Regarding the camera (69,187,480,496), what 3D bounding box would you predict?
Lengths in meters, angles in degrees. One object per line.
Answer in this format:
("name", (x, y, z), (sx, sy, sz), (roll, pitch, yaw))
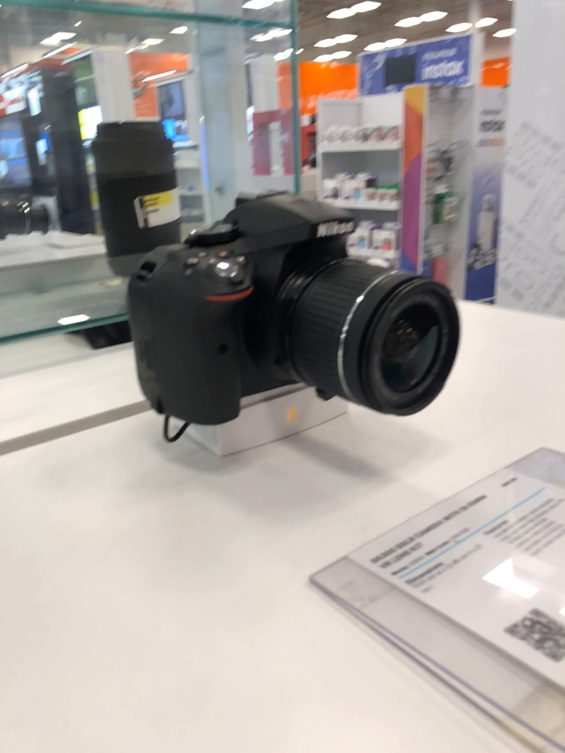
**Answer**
("camera", (-0.006, -0.035, 0.303), (0.130, 0.100, 0.140), (-17, 23, -36))
